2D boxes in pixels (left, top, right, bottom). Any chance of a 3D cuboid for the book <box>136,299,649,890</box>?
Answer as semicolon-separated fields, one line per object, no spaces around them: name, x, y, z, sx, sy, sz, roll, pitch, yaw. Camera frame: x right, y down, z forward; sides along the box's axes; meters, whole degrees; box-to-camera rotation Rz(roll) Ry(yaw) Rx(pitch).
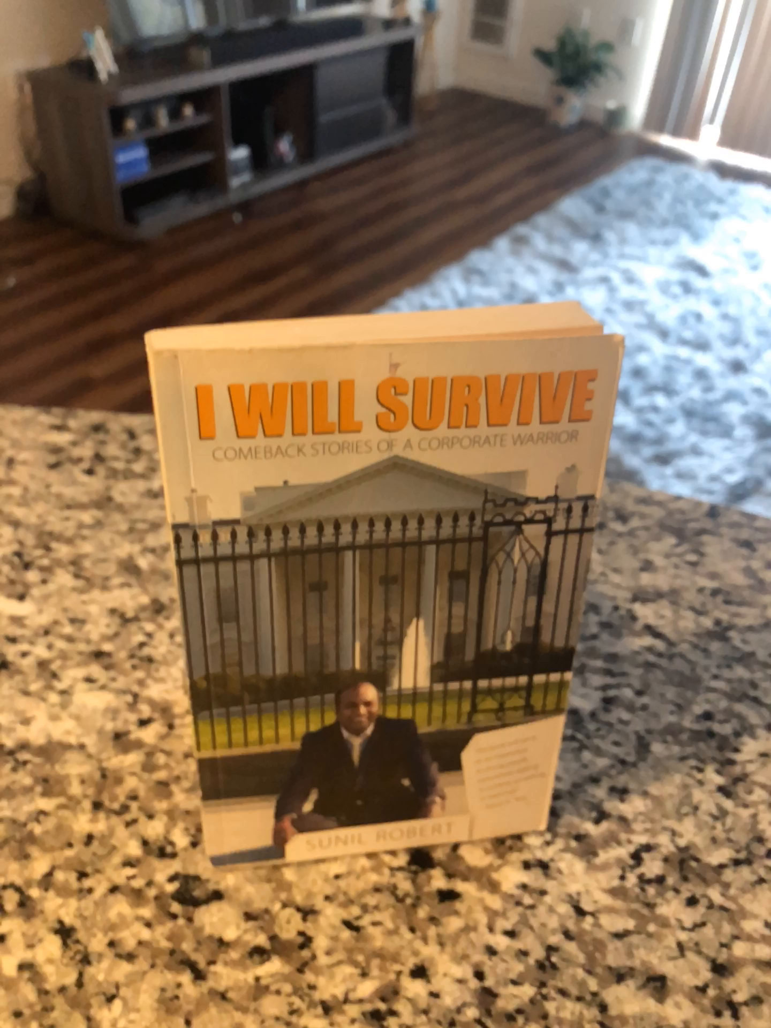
book;0.000;0.032;0.280;0.134;0.191;0.032;-5;29;-12
